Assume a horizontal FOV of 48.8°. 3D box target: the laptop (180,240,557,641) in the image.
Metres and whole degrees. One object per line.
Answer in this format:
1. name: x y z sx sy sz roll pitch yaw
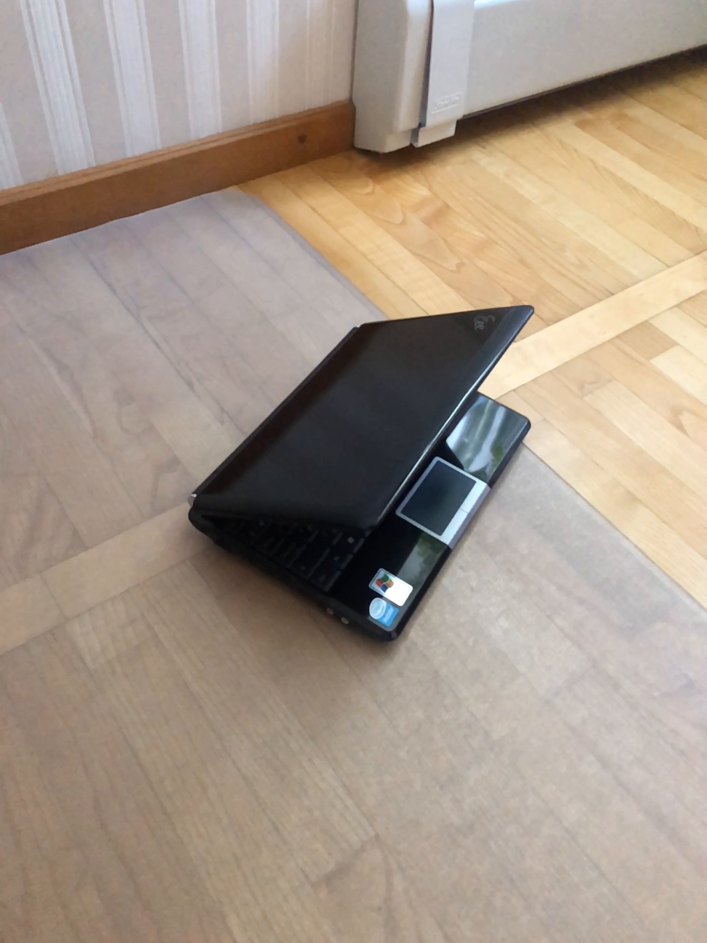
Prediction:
1. laptop: 0.022 -0.040 0.620 0.182 0.102 0.265 29 53 12
